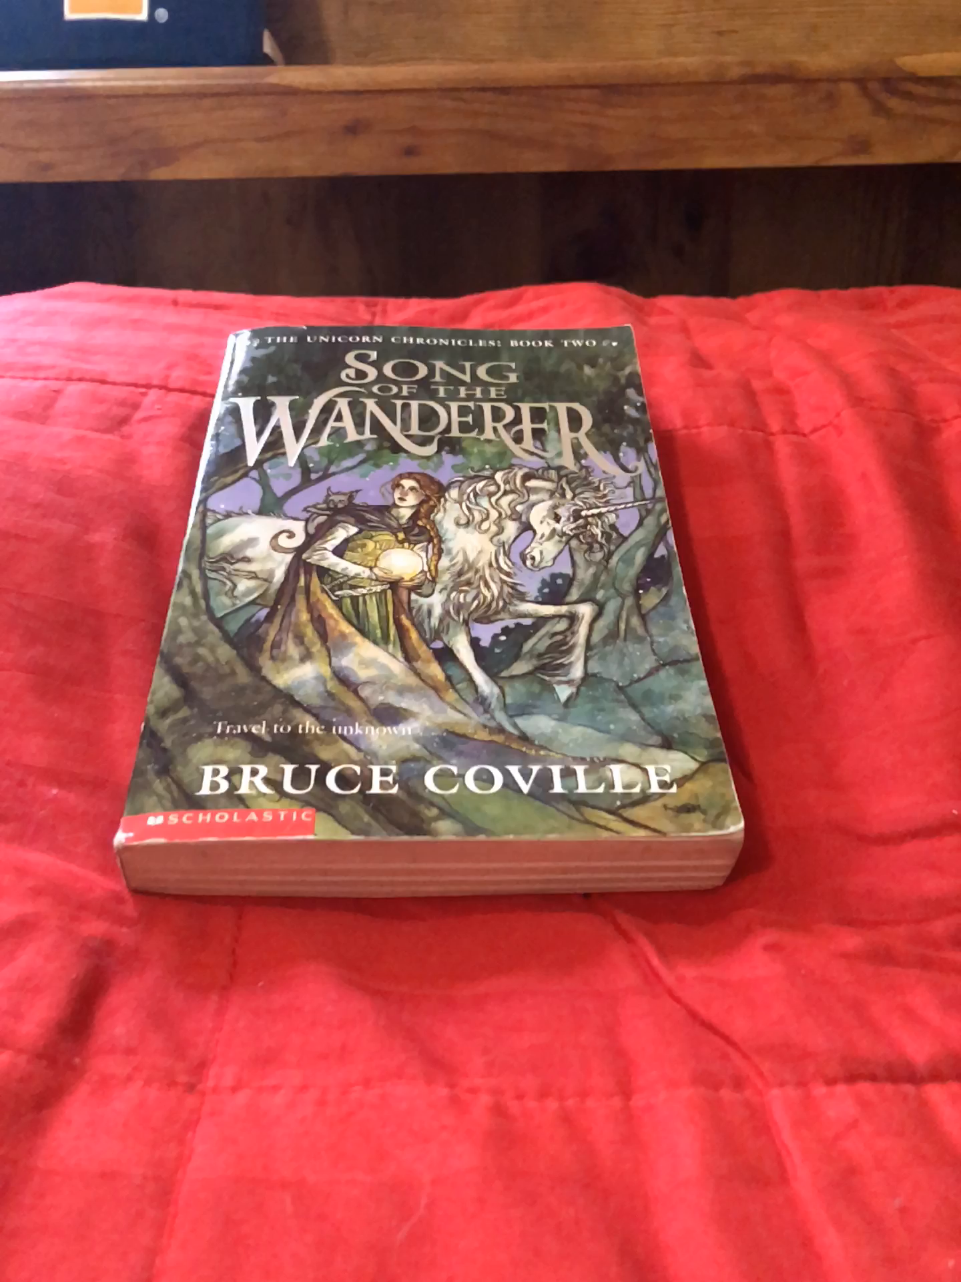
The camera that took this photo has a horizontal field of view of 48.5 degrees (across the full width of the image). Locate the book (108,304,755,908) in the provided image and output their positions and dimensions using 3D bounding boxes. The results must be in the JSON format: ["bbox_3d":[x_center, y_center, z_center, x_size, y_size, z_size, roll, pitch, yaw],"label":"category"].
[{"bbox_3d":[-0.012,-0.024,0.288,0.130,0.030,0.192,-1,50,-2],"label":"book"}]
